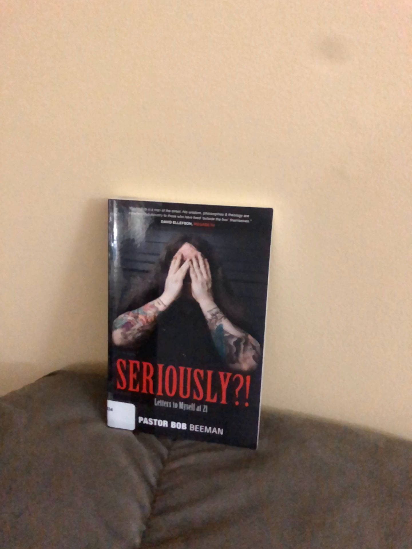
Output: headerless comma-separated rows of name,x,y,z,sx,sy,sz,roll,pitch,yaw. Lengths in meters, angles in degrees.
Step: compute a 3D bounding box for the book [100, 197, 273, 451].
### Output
book,-0.019,0.042,0.388,0.136,0.205,0.023,4,13,10
